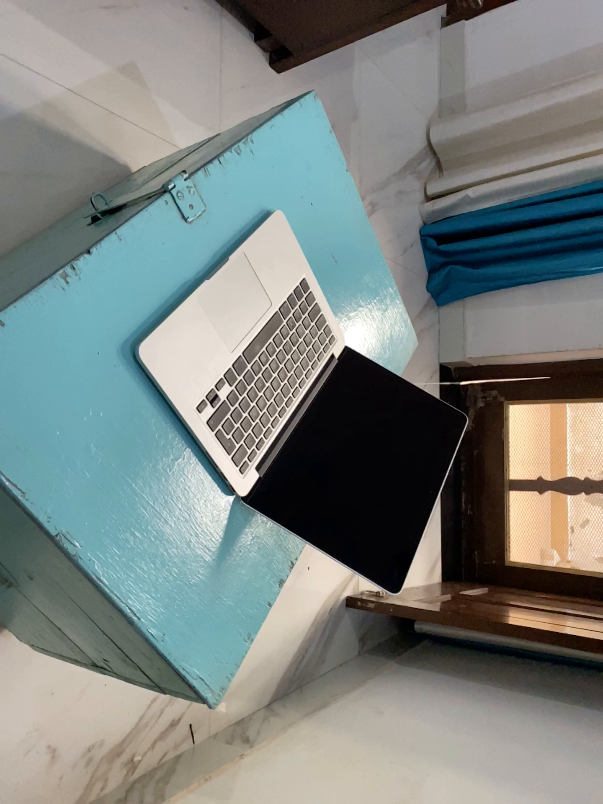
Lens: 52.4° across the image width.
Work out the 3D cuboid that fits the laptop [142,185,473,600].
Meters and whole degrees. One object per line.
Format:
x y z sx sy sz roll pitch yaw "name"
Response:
0.048 -0.011 0.765 0.378 0.148 0.314 61 44 -30 "laptop"
